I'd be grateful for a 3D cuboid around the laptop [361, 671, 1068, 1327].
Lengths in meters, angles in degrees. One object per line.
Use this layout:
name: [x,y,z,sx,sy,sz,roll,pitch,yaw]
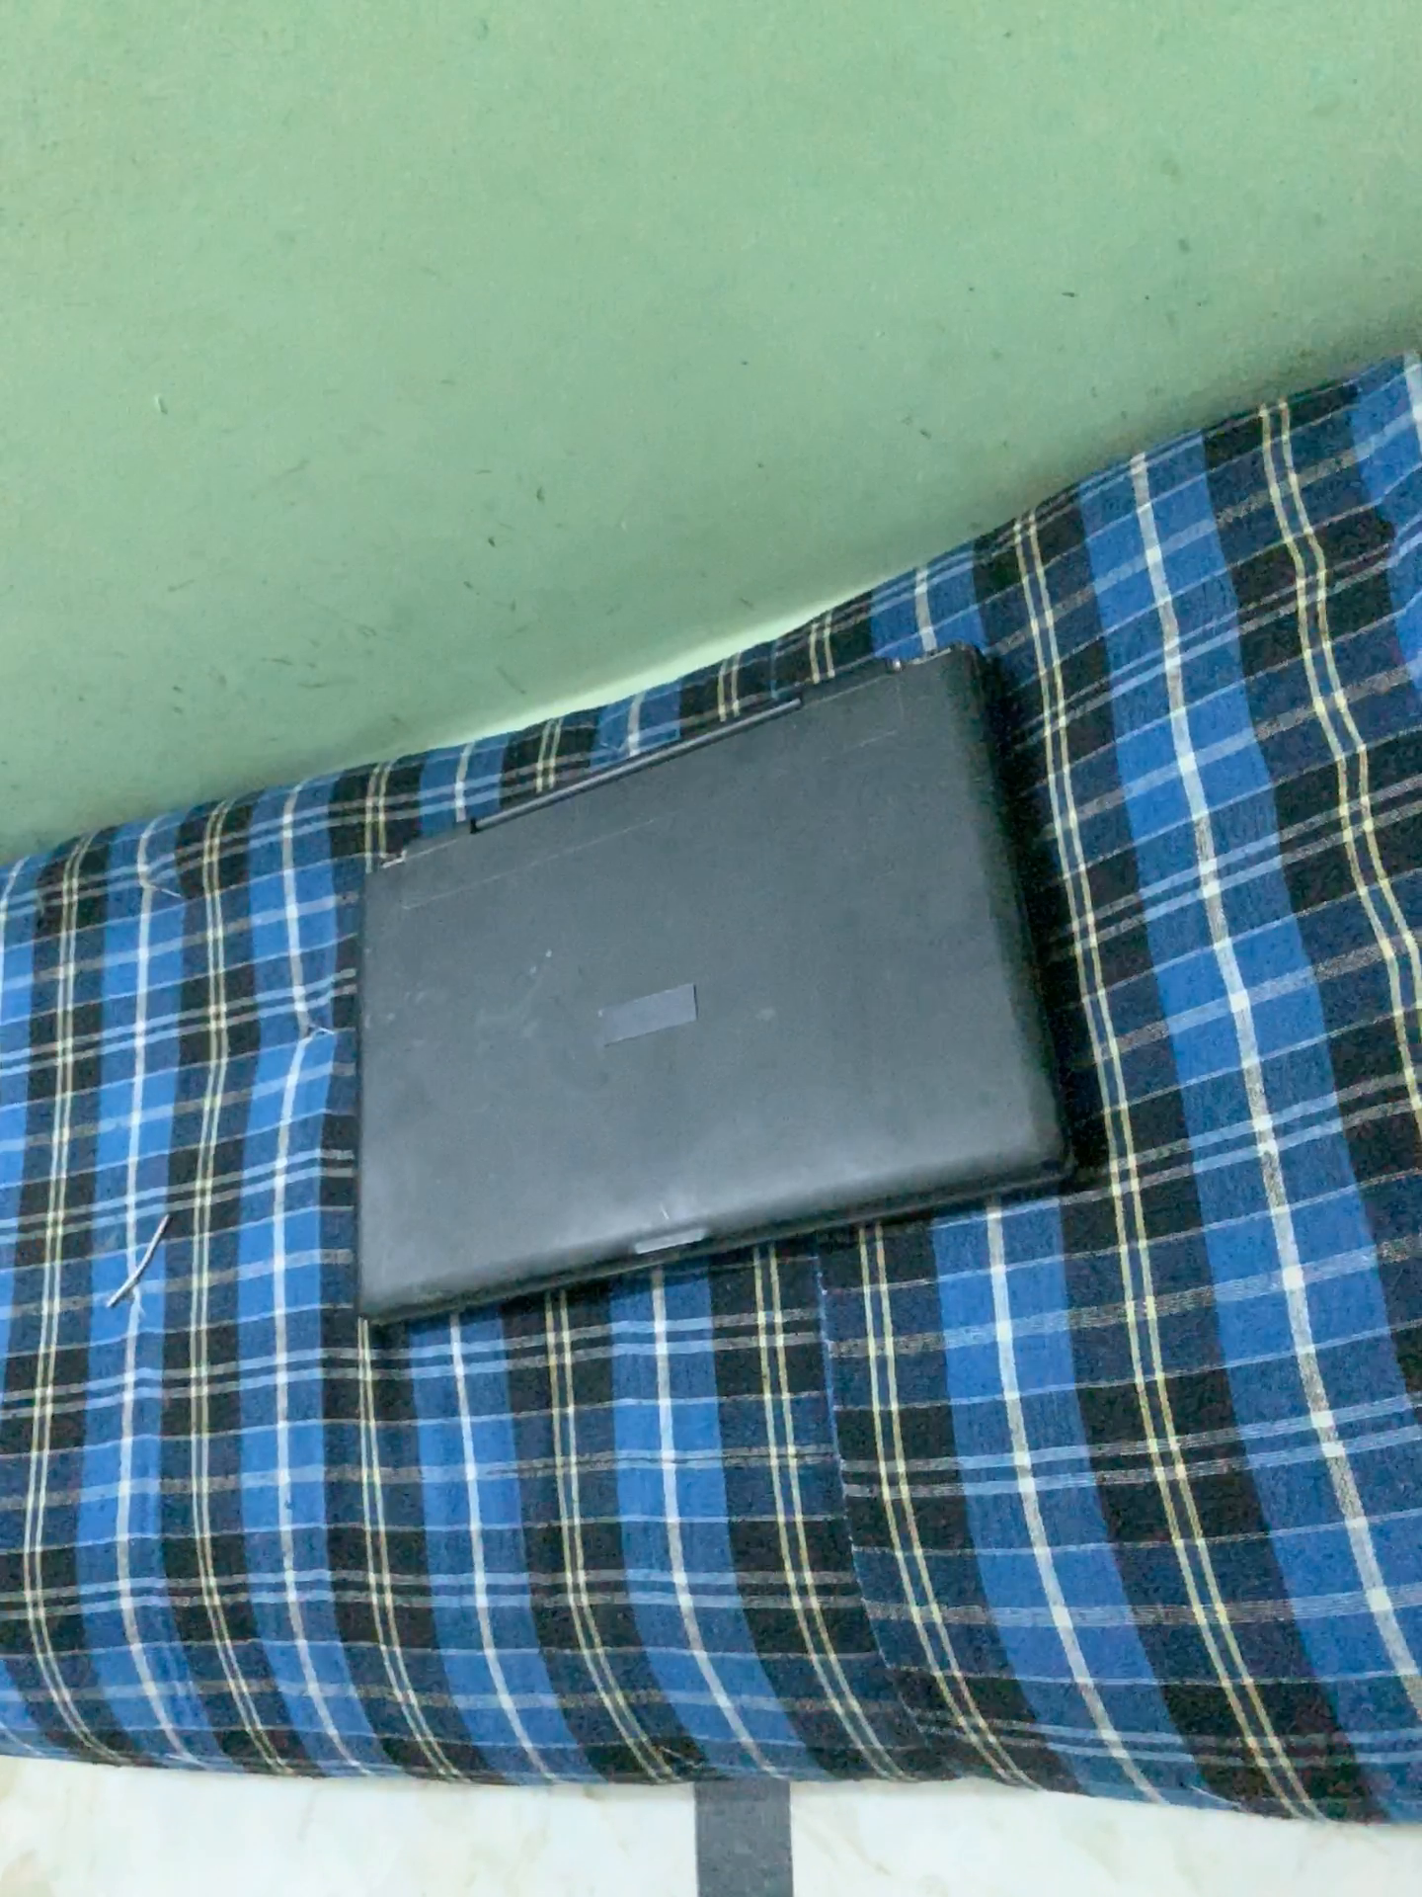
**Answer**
laptop: [-0.024,0.027,0.629,0.324,0.005,0.216,-18,63,24]
